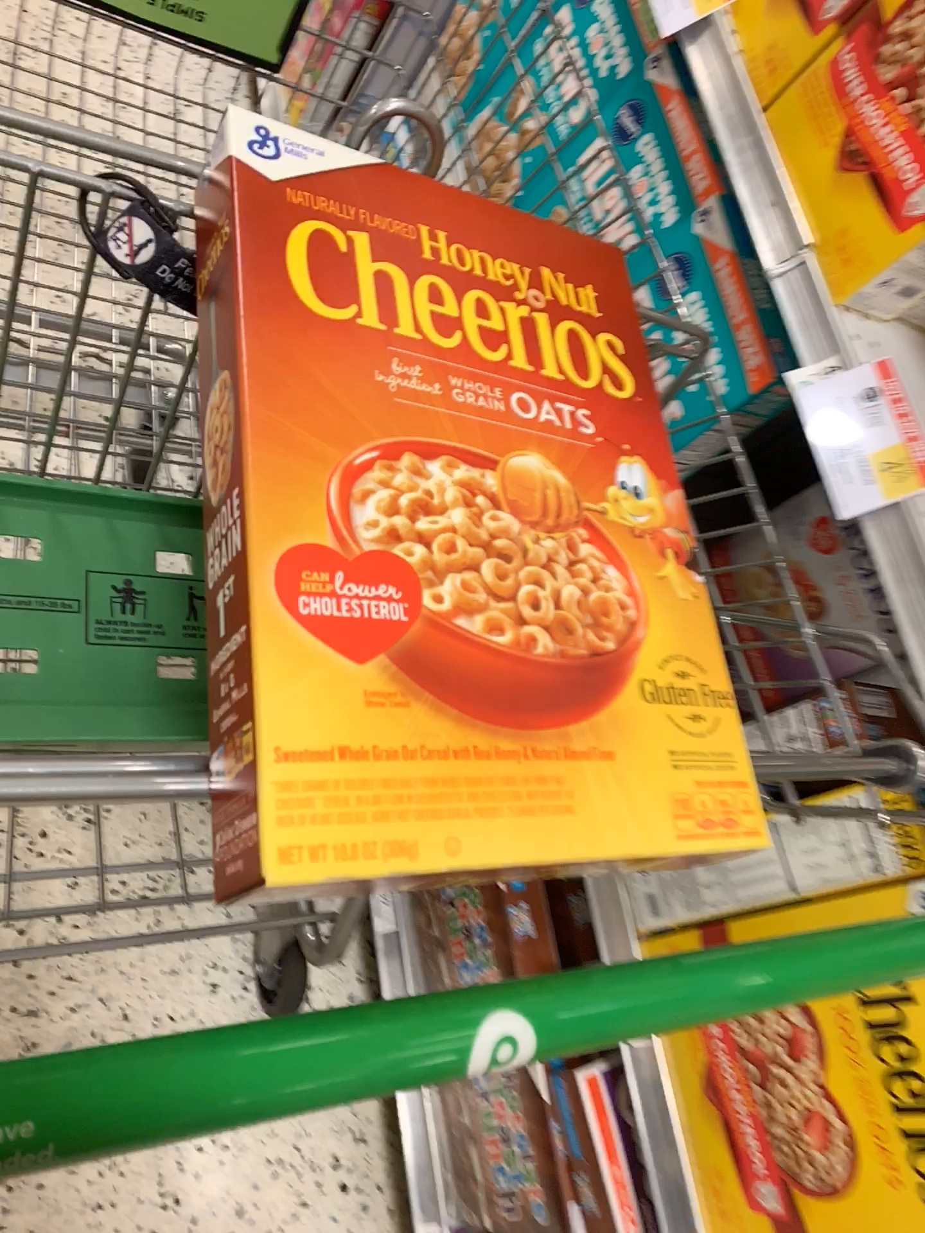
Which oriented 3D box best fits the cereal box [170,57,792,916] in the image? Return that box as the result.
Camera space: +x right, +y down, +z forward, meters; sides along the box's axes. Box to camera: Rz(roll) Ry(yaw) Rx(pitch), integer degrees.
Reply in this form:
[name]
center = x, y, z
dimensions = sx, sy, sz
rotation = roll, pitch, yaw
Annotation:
[cereal box]
center = 0.000, -0.048, 0.366
dimensions = 0.201, 0.059, 0.291
rotation = 5, 66, -31
